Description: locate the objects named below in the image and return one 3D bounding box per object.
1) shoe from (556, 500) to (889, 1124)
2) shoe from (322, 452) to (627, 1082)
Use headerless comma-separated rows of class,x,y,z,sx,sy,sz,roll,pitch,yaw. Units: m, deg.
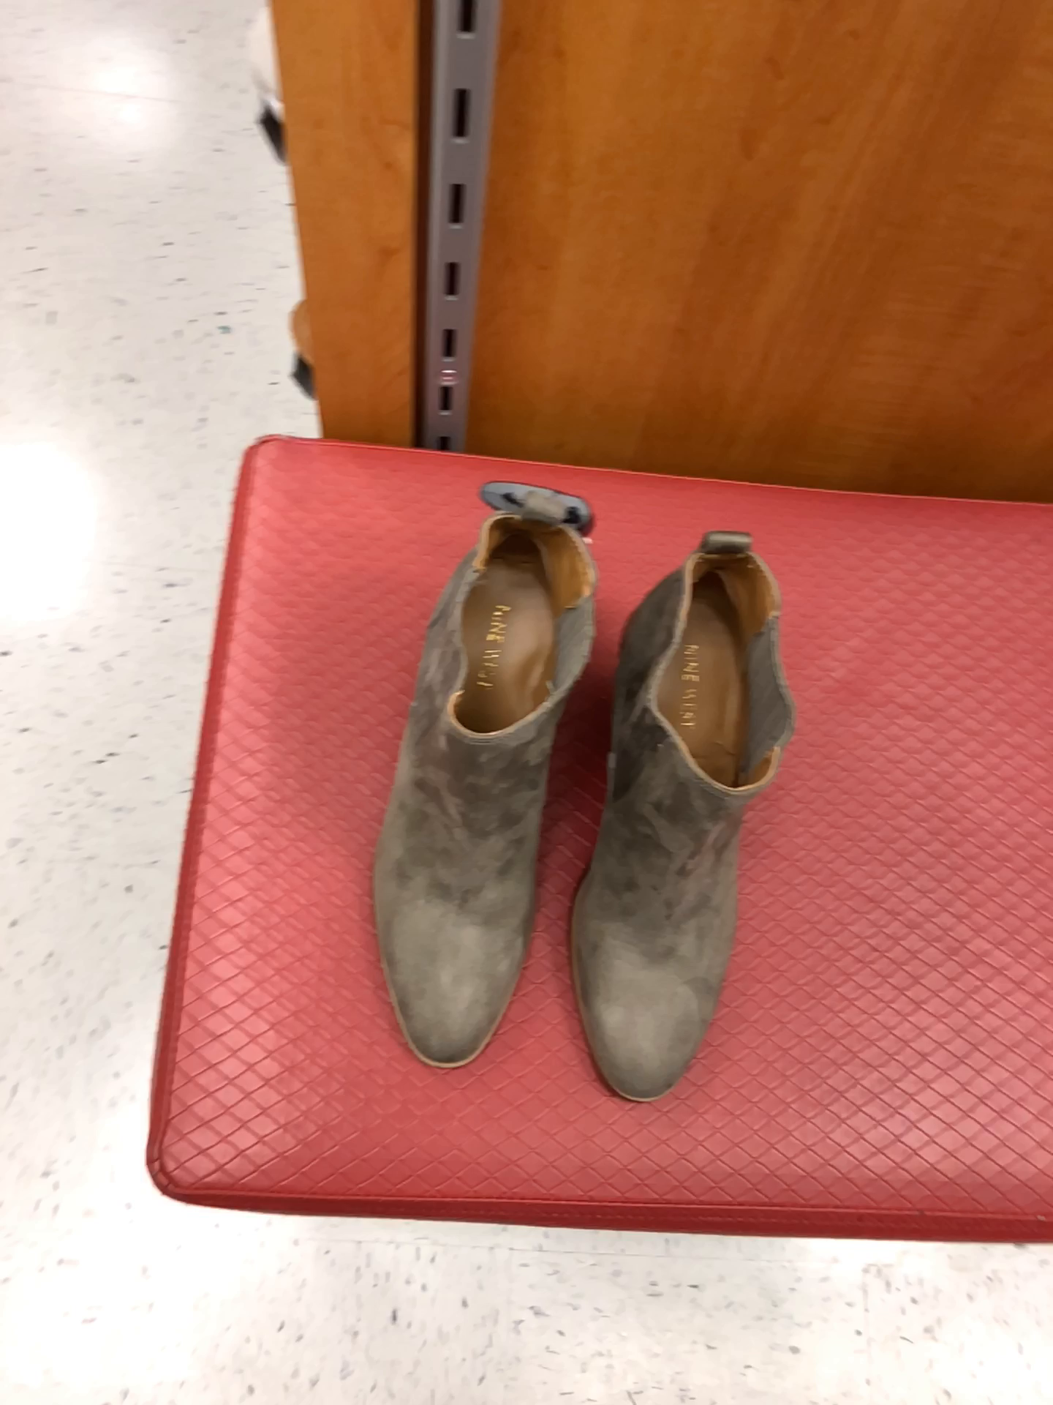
shoe,0.087,0.059,0.545,0.107,0.150,0.250,7,69,-3
shoe,-0.023,0.039,0.547,0.097,0.160,0.250,7,69,-3
